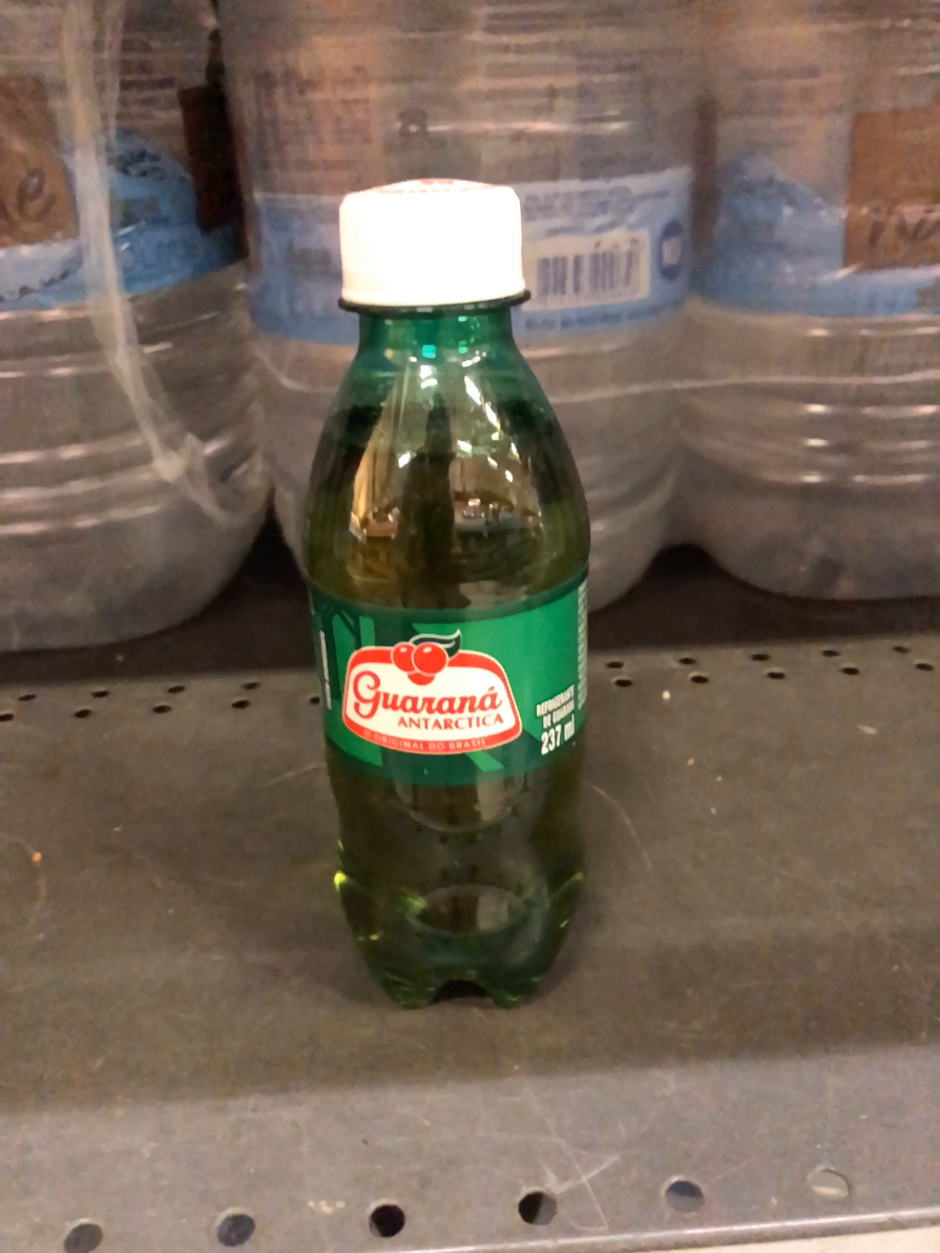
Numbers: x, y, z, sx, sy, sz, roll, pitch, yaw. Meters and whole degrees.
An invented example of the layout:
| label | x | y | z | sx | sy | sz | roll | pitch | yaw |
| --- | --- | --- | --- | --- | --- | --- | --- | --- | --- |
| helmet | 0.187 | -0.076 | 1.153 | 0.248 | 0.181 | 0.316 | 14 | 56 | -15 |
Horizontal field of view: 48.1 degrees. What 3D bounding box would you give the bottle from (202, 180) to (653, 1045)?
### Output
| label | x | y | z | sx | sy | sz | roll | pitch | yaw |
| --- | --- | --- | --- | --- | --- | --- | --- | --- | --- |
| bottle | -0.002 | -0.001 | 0.198 | 0.060 | 0.149 | 0.060 | -2 | 25 | 1 |
